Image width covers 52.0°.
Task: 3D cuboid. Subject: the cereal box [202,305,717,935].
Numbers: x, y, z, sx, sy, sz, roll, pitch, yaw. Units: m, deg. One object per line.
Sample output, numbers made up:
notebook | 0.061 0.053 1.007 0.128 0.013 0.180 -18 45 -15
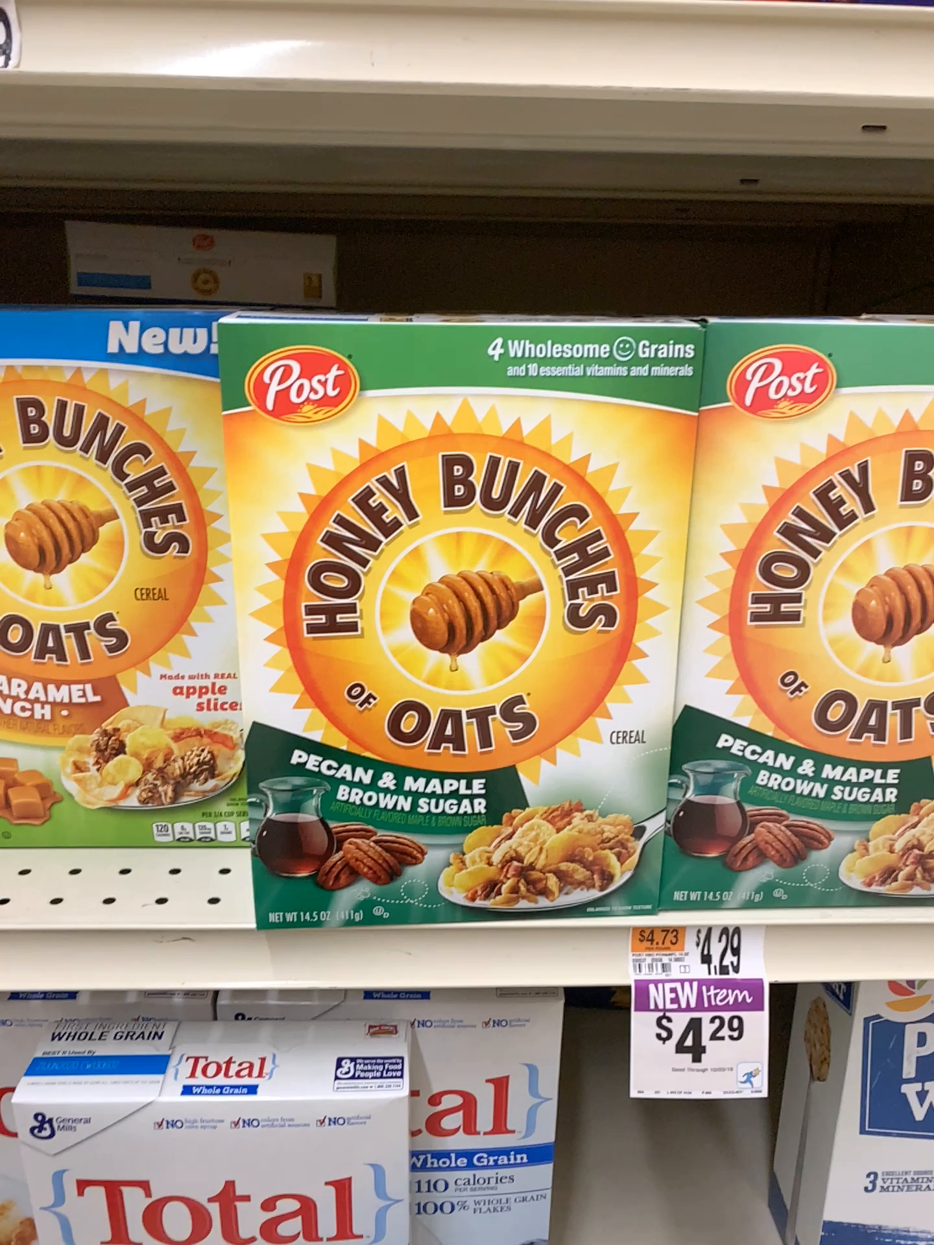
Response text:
cereal box | -0.006 0.002 0.442 0.200 0.279 0.060 -1 18 -6
